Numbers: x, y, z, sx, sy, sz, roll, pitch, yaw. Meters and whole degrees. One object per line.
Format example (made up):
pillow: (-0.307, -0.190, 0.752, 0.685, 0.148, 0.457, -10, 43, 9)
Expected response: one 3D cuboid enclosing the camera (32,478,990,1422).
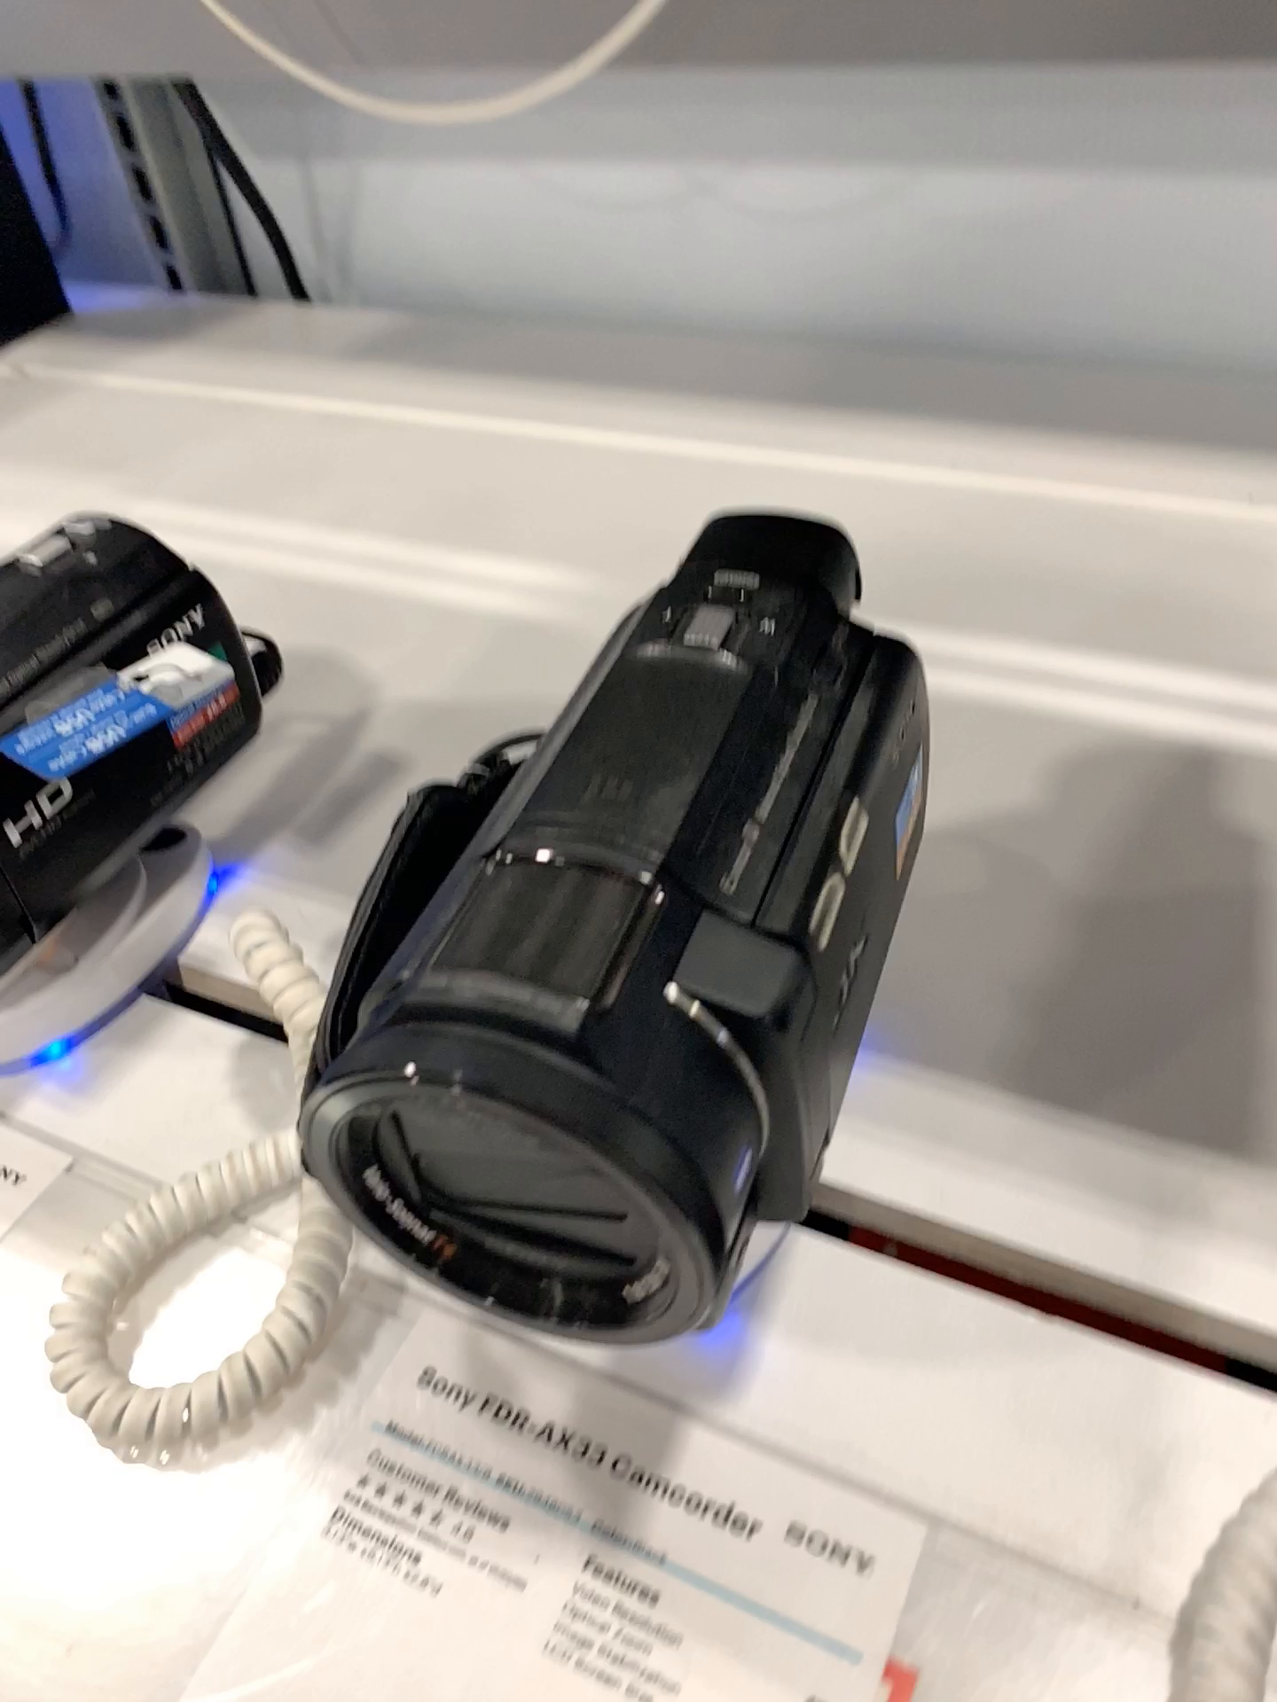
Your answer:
camera: (-0.006, 0.003, 0.228, 0.103, 0.067, 0.136, 11, 46, 19)
